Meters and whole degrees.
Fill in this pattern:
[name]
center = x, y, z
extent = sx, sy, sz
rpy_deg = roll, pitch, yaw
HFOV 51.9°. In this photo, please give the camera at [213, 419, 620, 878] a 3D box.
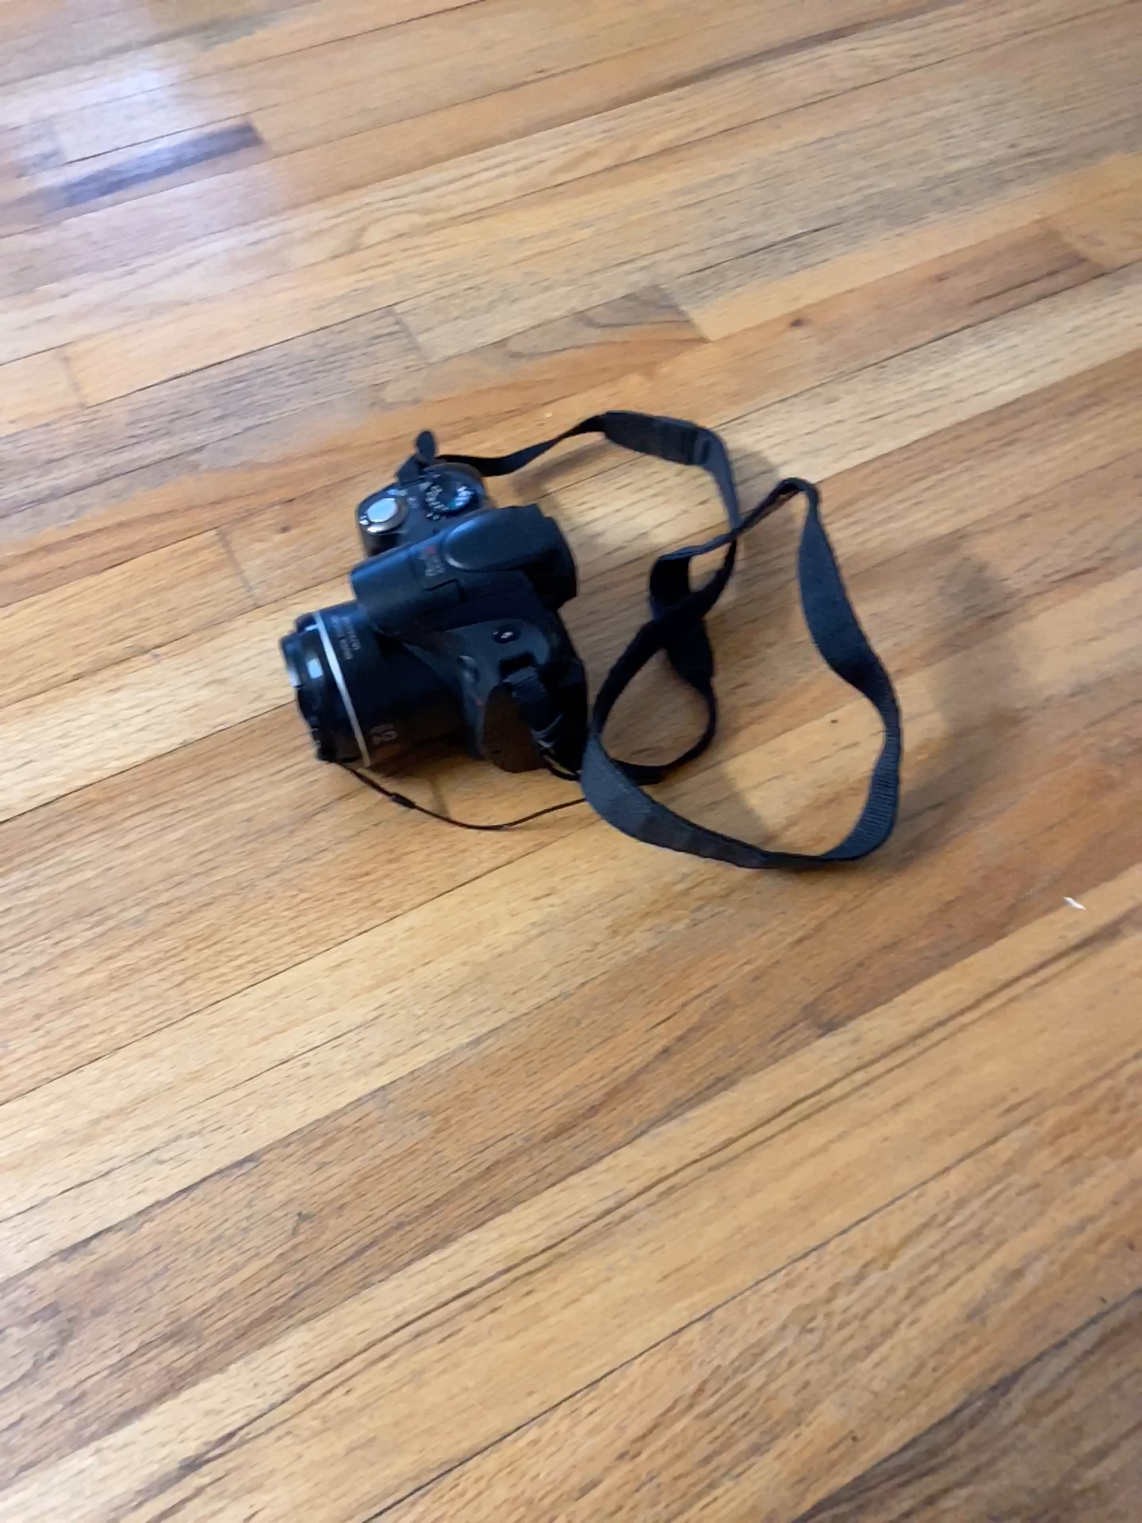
[camera]
center = -0.058, -0.045, 0.481
extent = 0.120, 0.110, 0.110
rpy_deg = -23, 59, -12
